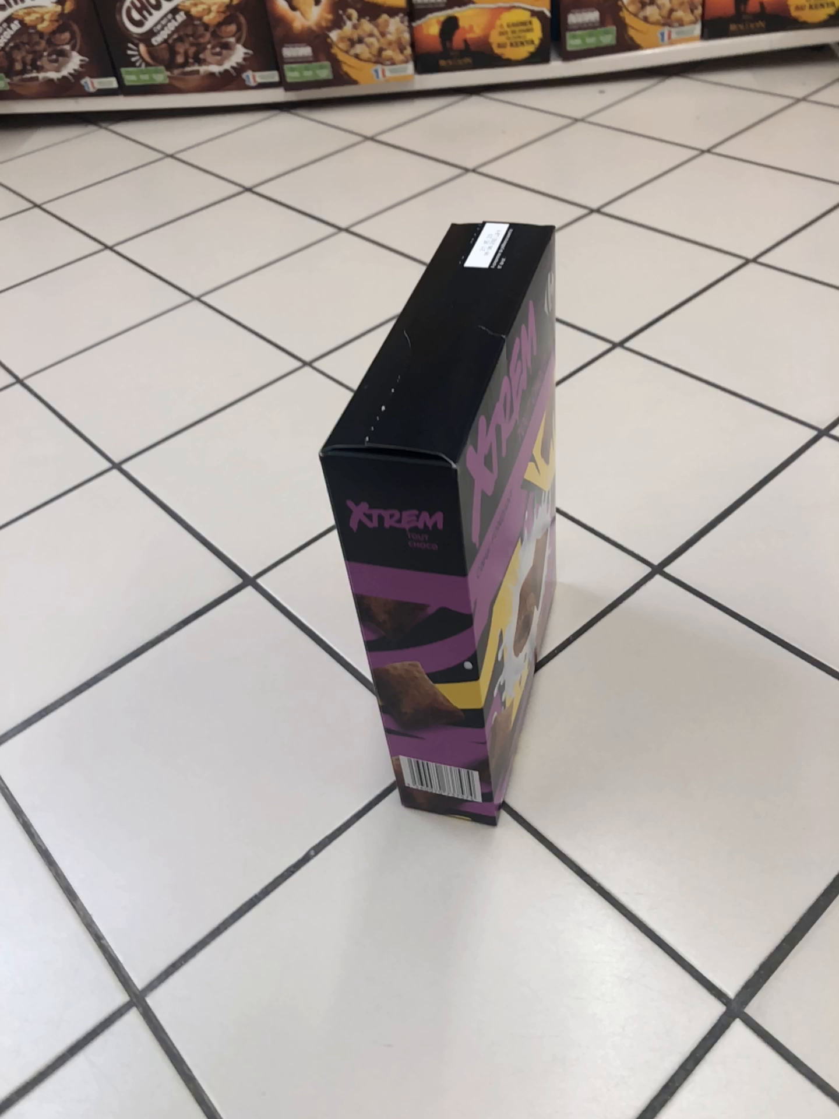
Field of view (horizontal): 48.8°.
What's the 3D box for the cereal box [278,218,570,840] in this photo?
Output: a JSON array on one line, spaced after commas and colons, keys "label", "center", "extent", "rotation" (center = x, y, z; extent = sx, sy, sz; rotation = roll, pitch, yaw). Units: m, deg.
[{"label": "cereal box", "center": [0.024, -0.015, 0.473], "extent": [0.070, 0.239, 0.201], "rotation": [7, 45, 16]}]
